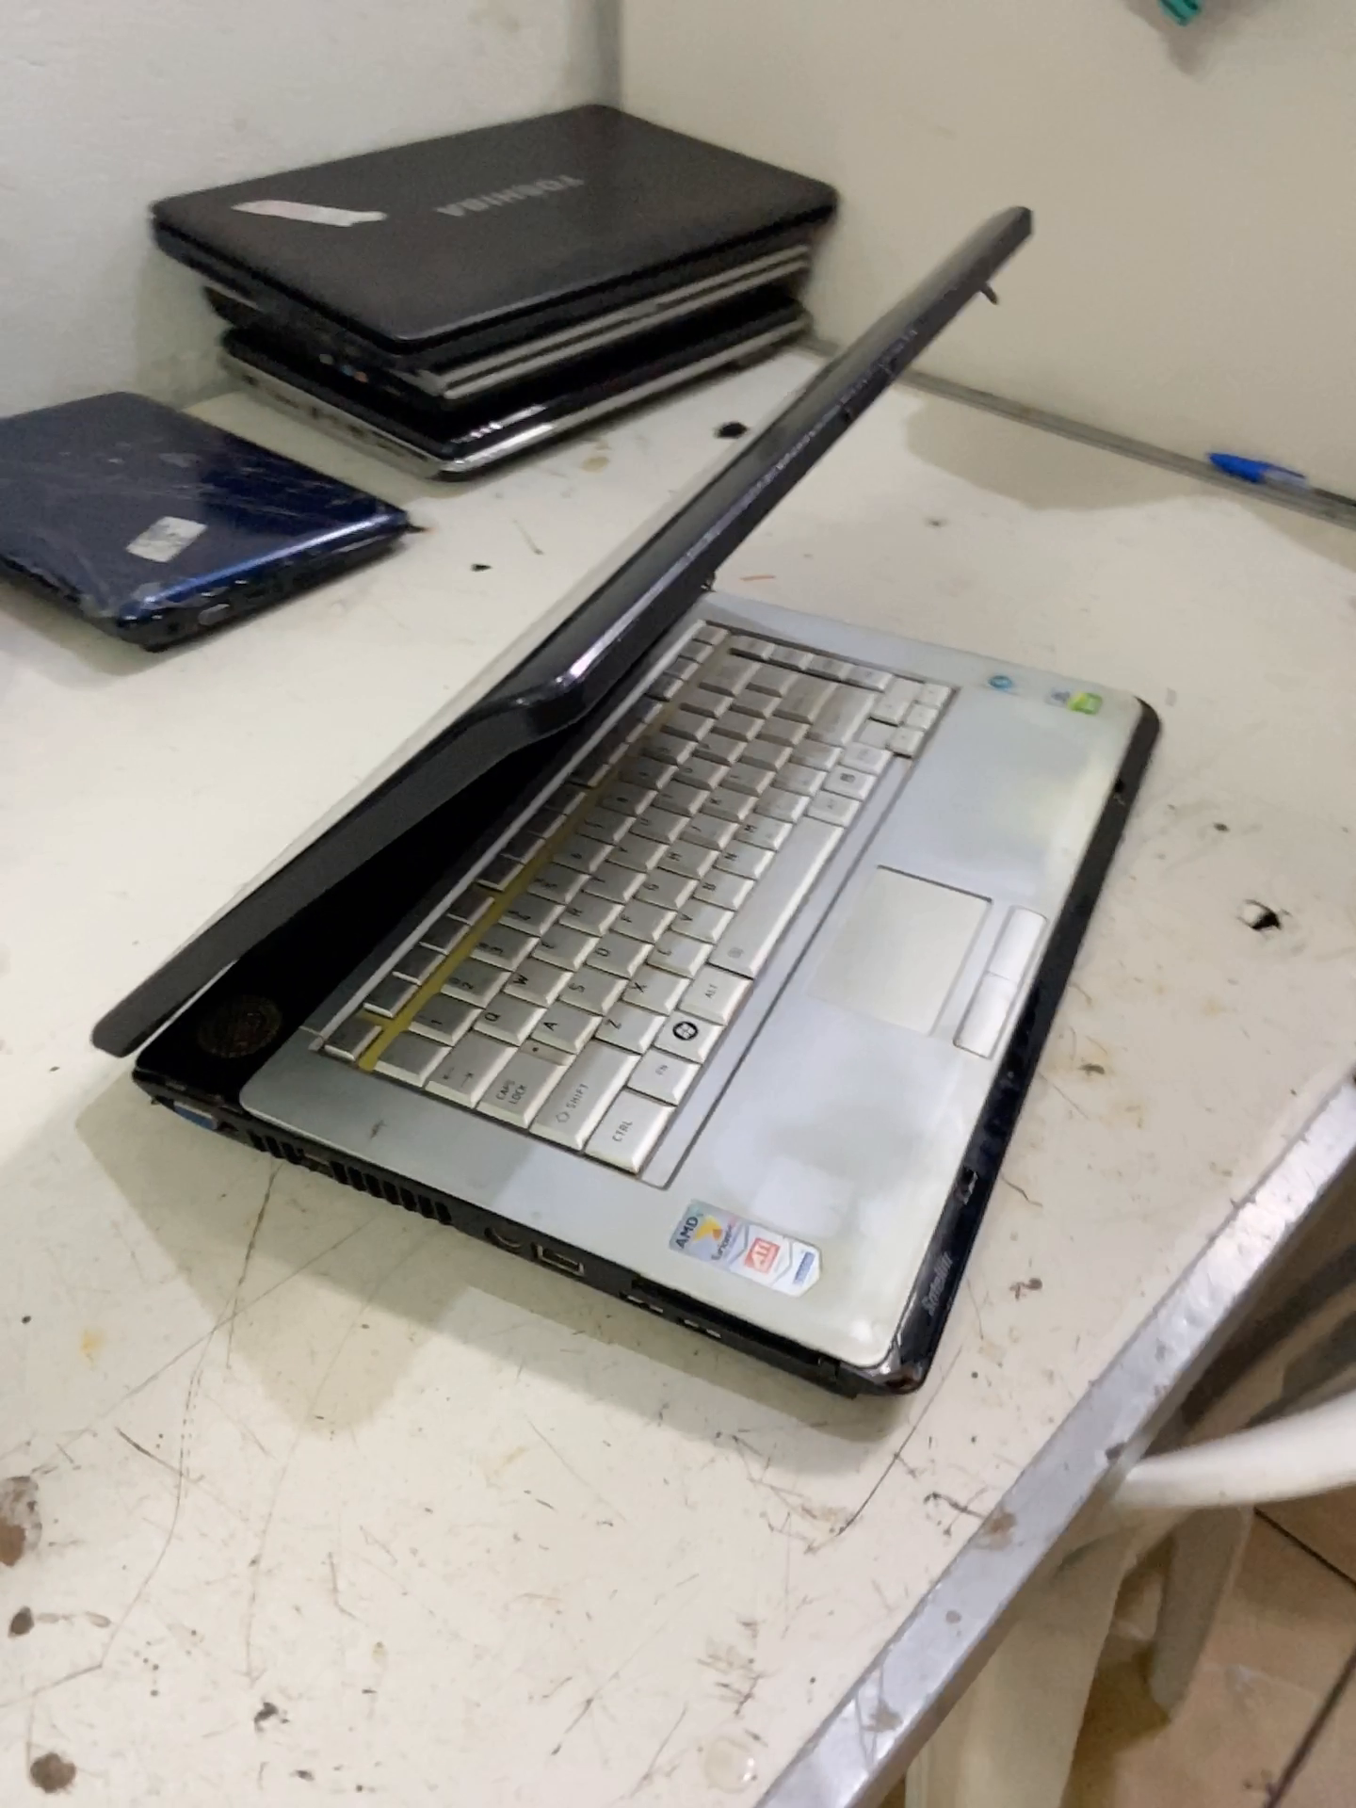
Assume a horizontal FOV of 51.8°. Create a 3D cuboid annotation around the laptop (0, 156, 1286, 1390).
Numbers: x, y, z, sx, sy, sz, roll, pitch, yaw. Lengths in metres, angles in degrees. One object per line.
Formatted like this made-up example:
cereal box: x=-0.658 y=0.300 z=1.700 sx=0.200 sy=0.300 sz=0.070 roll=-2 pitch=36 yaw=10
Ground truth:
laptop: x=0.020 y=-0.088 z=0.468 sx=0.257 sy=0.185 sz=0.357 roll=18 pitch=45 yaw=18
